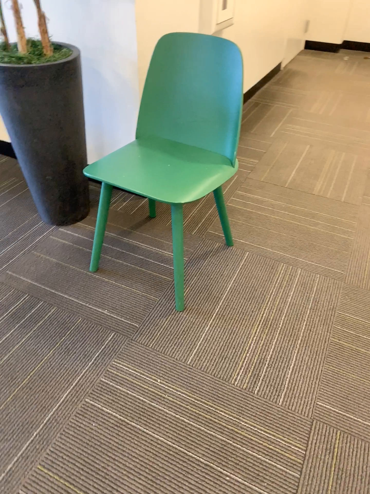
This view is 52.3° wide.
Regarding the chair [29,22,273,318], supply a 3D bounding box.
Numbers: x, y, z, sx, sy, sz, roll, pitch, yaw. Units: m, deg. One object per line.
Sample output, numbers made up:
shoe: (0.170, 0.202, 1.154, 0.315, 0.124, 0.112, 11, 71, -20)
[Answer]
chair: (-0.074, -0.279, 1.318, 0.481, 0.765, 0.542, 20, 43, 20)
